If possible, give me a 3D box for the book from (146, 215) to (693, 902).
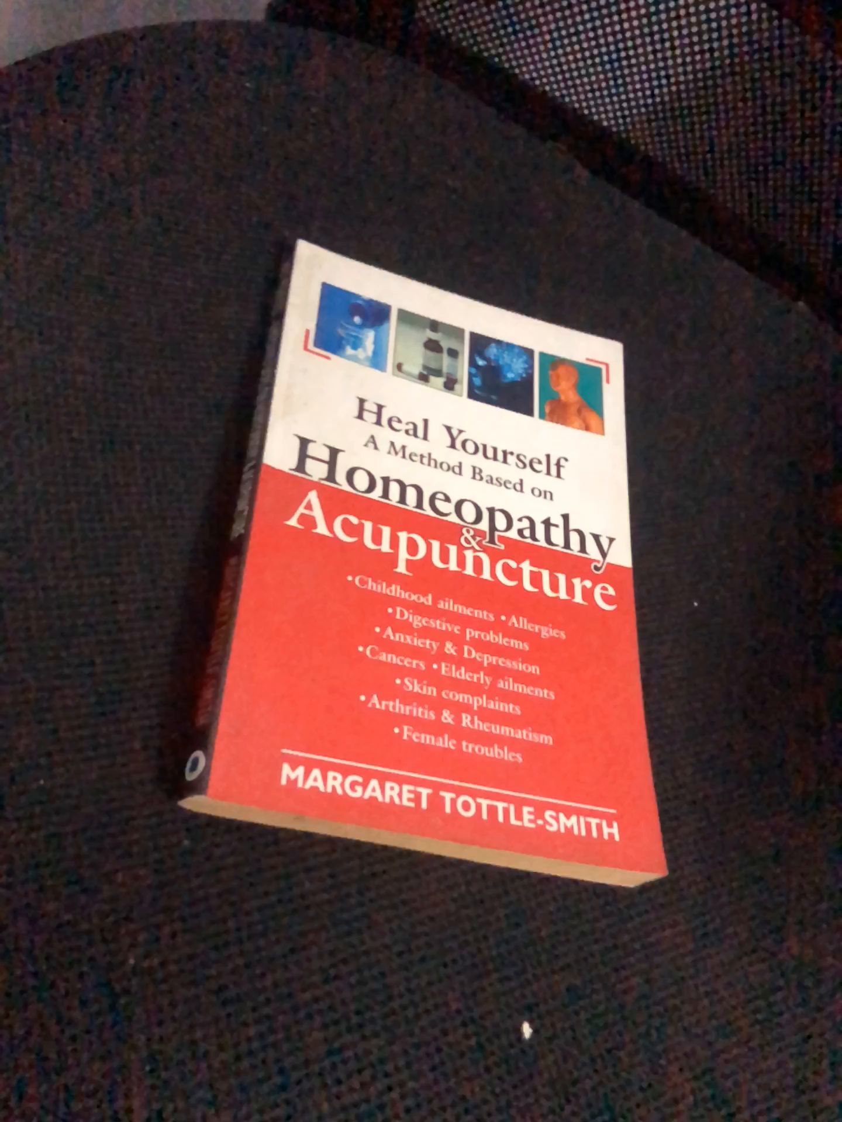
[{"bbox_3d":[0.010,-0.012,0.312,0.150,0.020,0.221,15,55,-16],"label":"book"}]
